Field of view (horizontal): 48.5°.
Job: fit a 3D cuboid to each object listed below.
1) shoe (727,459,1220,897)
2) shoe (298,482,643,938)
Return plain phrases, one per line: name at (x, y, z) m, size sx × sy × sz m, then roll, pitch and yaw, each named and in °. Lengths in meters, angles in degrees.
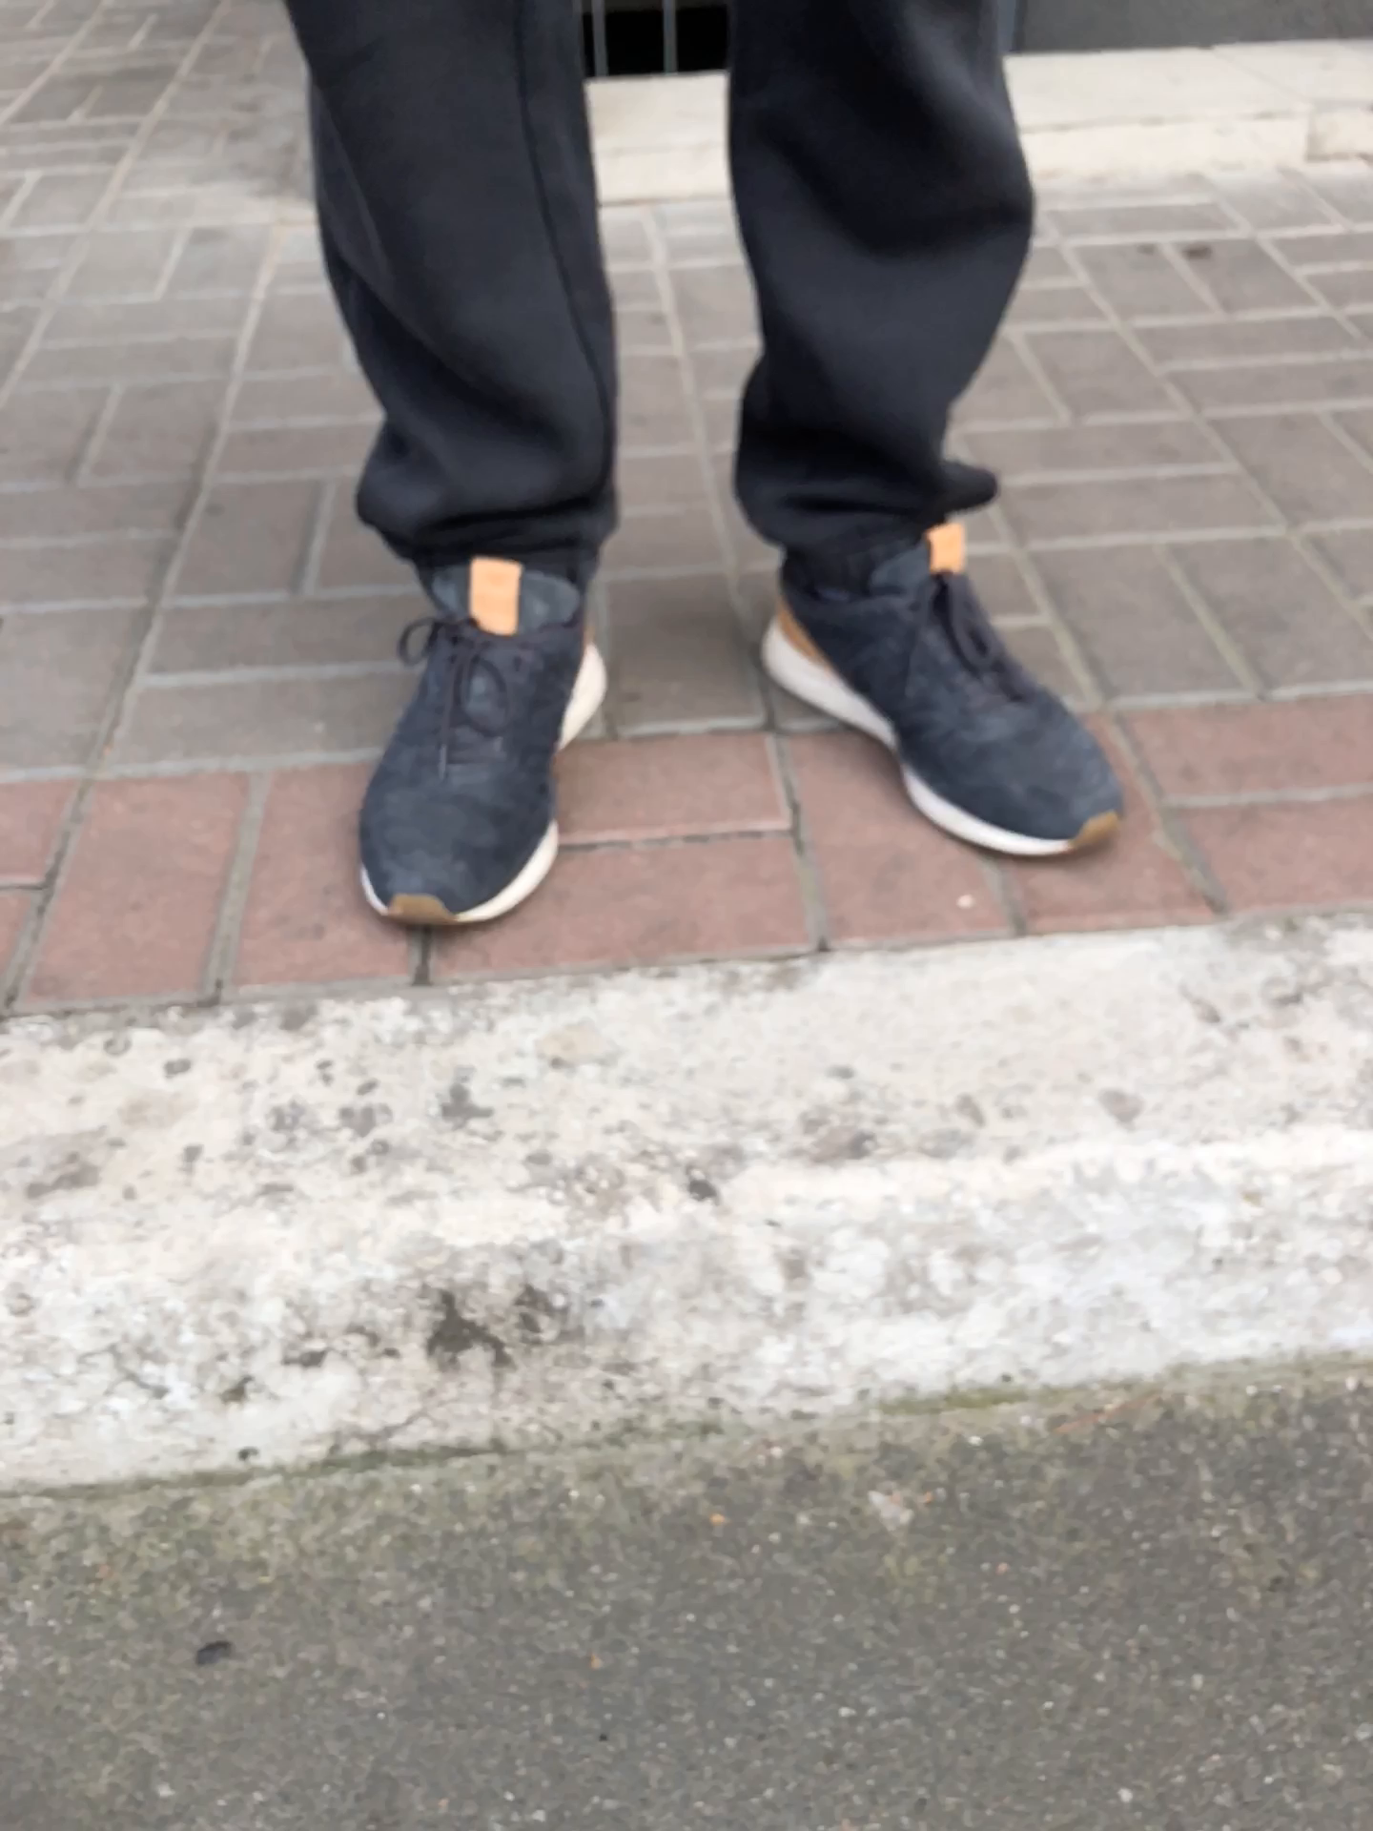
shoe at (0.143, -0.144, 0.851) m, size 0.104 × 0.109 × 0.281 m, roll -22°, pitch 43°, yaw -23°
shoe at (-0.102, -0.124, 0.828) m, size 0.104 × 0.109 × 0.282 m, roll 4°, pitch 39°, yaw 8°
